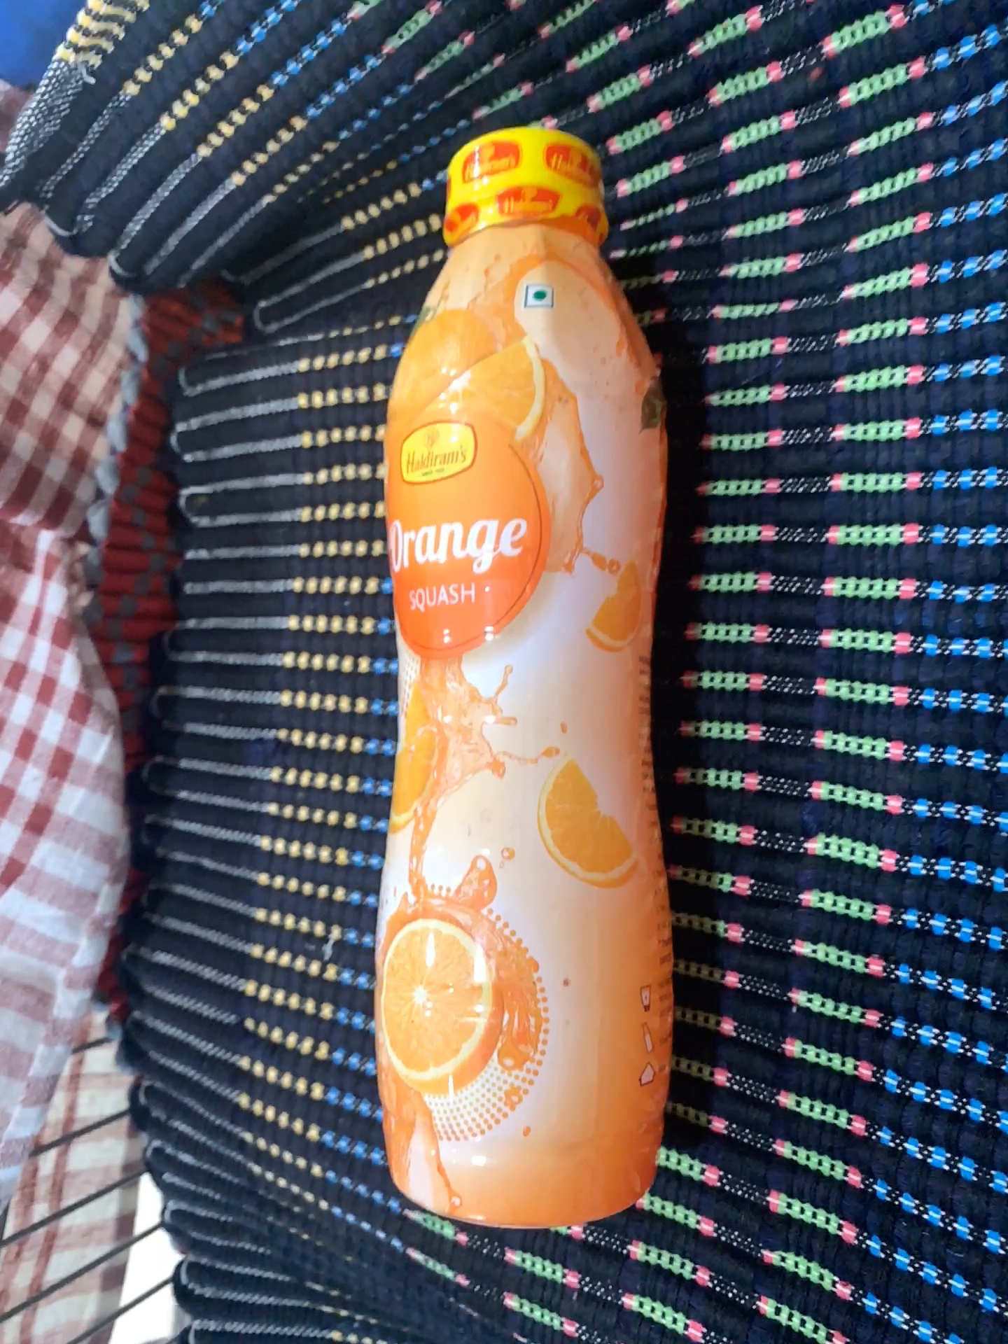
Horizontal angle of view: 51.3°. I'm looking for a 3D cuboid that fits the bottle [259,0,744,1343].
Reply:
[{"bbox_3d":[0.002,-0.009,0.233,0.080,0.060,0.250,-3,82,38],"label":"bottle"}]
